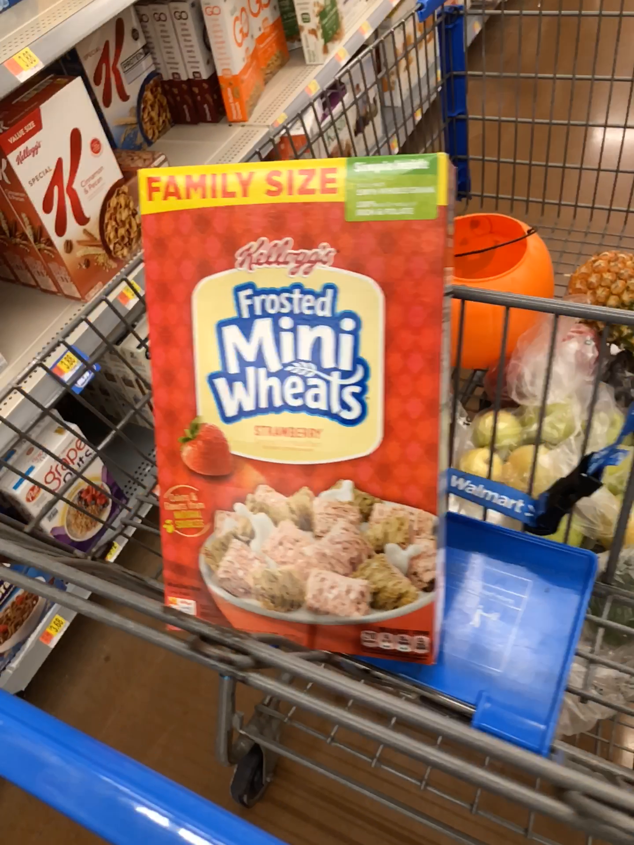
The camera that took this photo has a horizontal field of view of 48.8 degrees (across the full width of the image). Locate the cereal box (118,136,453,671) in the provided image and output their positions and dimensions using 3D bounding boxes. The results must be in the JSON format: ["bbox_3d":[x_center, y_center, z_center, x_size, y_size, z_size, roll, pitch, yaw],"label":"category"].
[{"bbox_3d":[-0.015,-0.009,0.473,0.200,0.320,0.070,2,11,16],"label":"cereal box"}]
